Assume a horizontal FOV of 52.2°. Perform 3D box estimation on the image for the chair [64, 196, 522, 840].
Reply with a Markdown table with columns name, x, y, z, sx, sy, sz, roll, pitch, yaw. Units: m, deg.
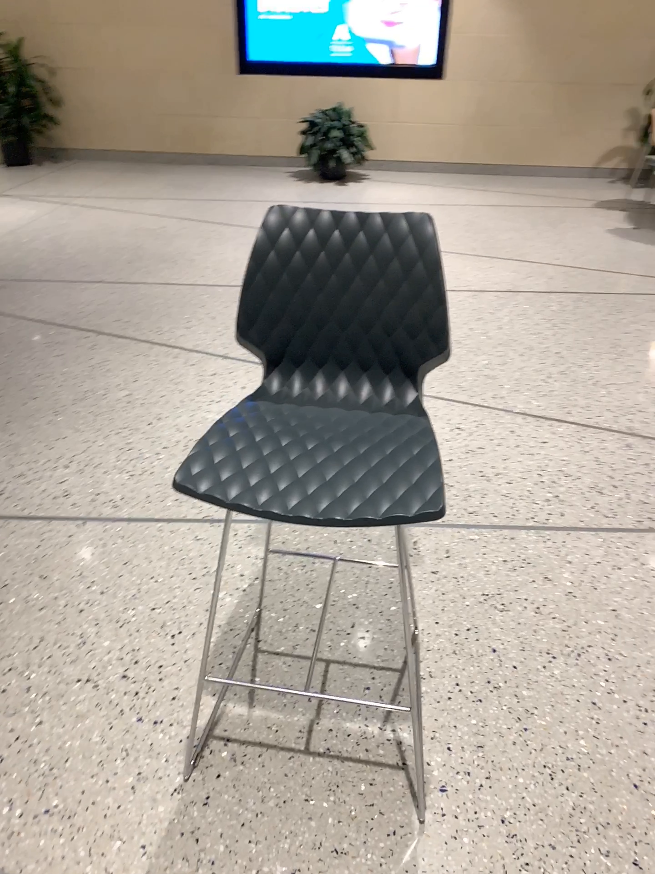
| name | x | y | z | sx | sy | sz | roll | pitch | yaw |
| --- | --- | --- | --- | --- | --- | --- | --- | --- | --- |
| chair | -0.012 | 0.146 | 1.240 | 0.534 | 0.995 | 0.536 | 7 | 32 | 9 |
